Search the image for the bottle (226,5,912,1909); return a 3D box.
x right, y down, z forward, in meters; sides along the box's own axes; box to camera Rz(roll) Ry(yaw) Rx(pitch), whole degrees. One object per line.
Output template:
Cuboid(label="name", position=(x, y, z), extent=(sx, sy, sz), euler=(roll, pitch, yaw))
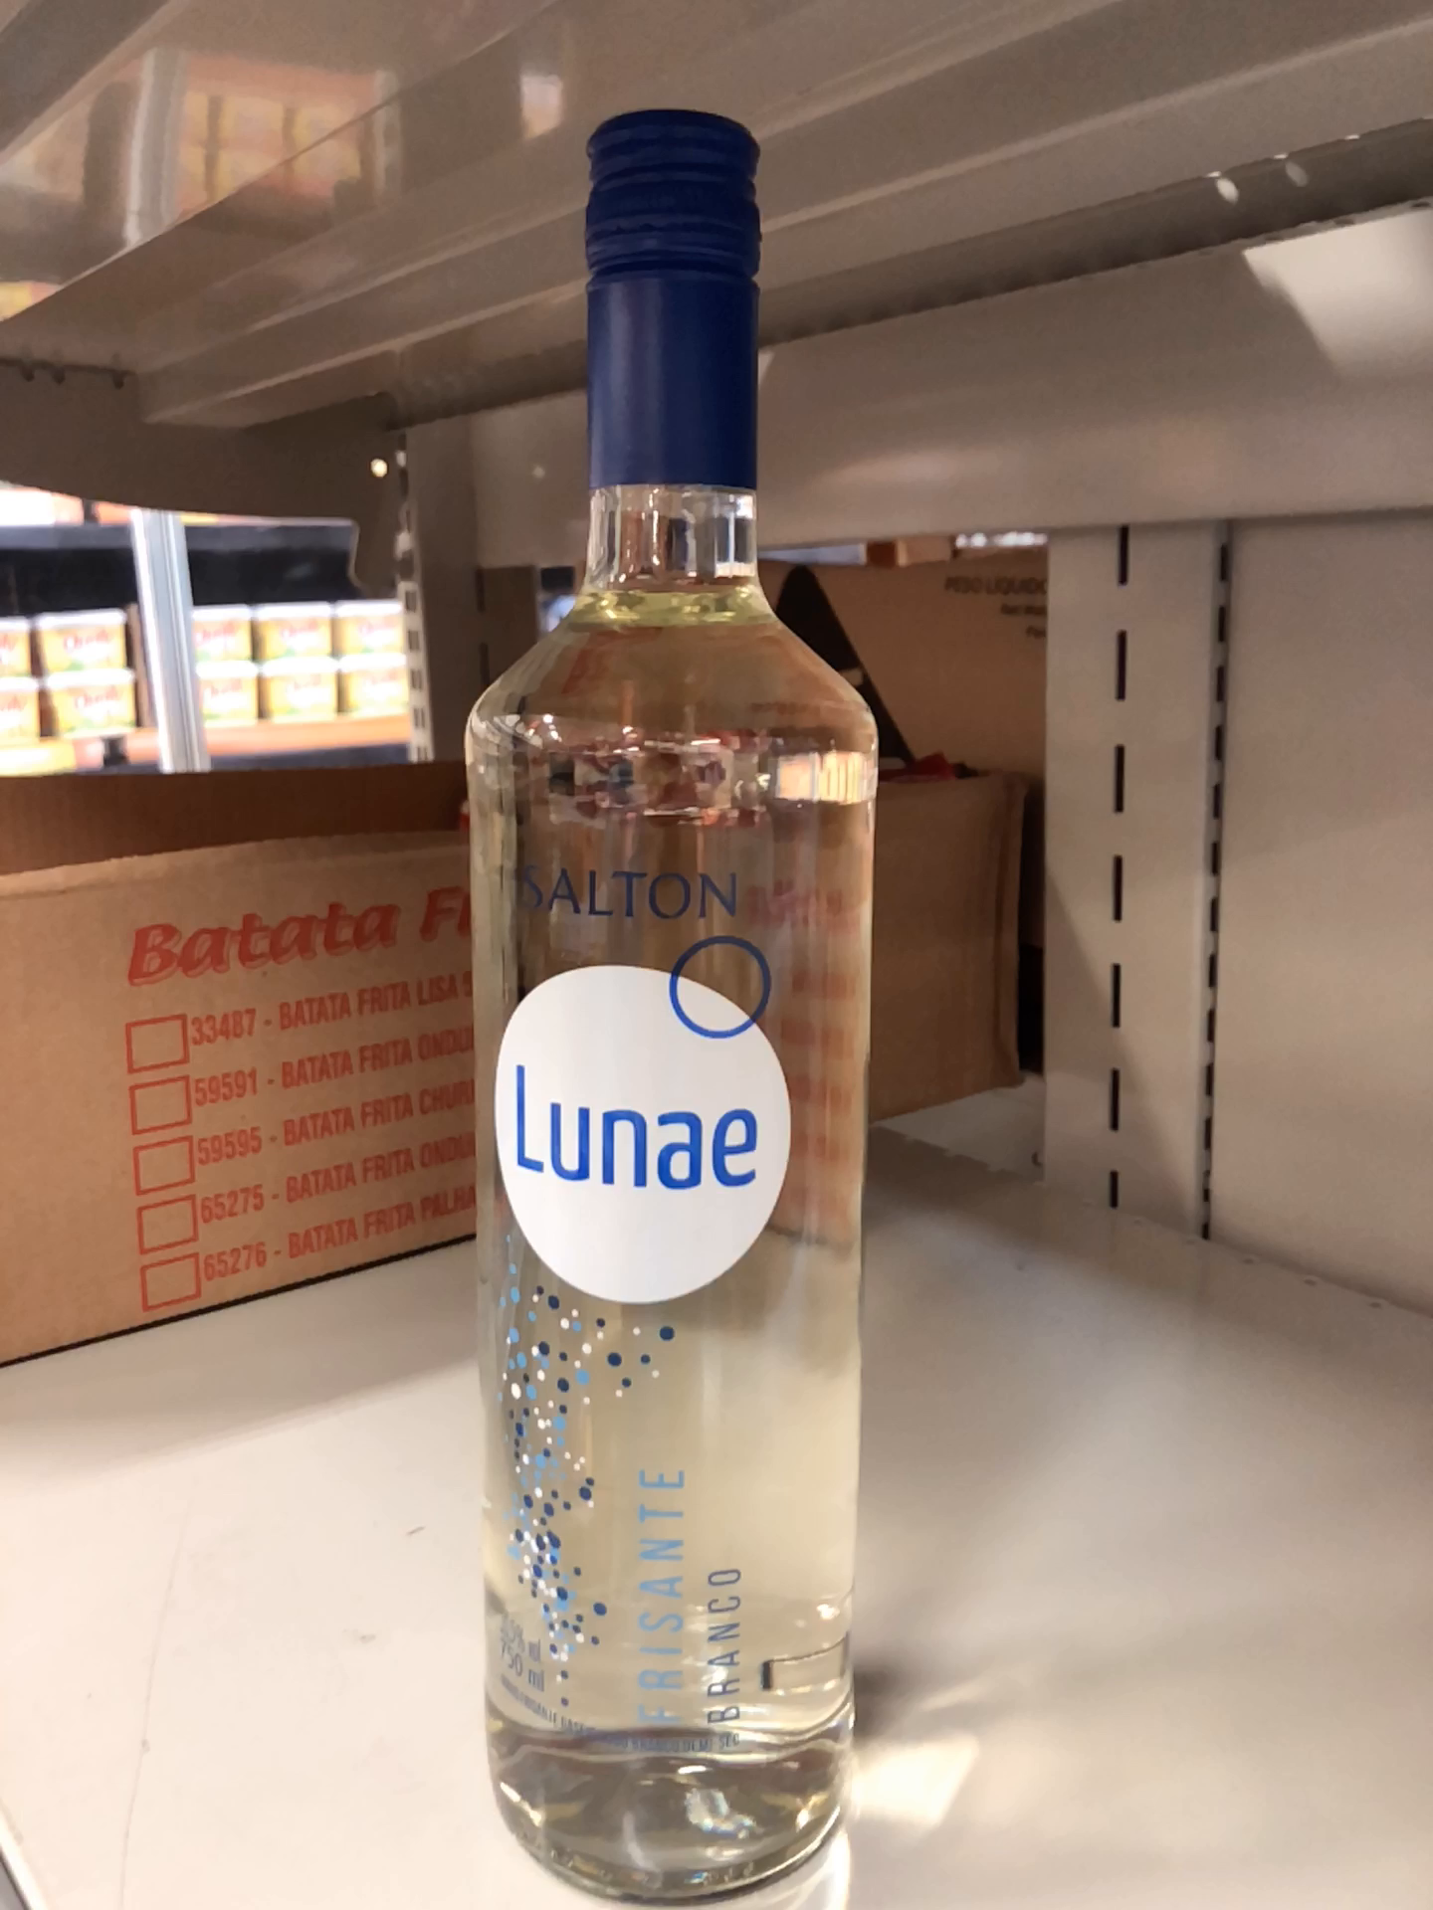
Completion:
Cuboid(label="bottle", position=(-0.014, 0.017, 0.288), extent=(0.080, 0.309, 0.080), euler=(-3, 12, 1))
